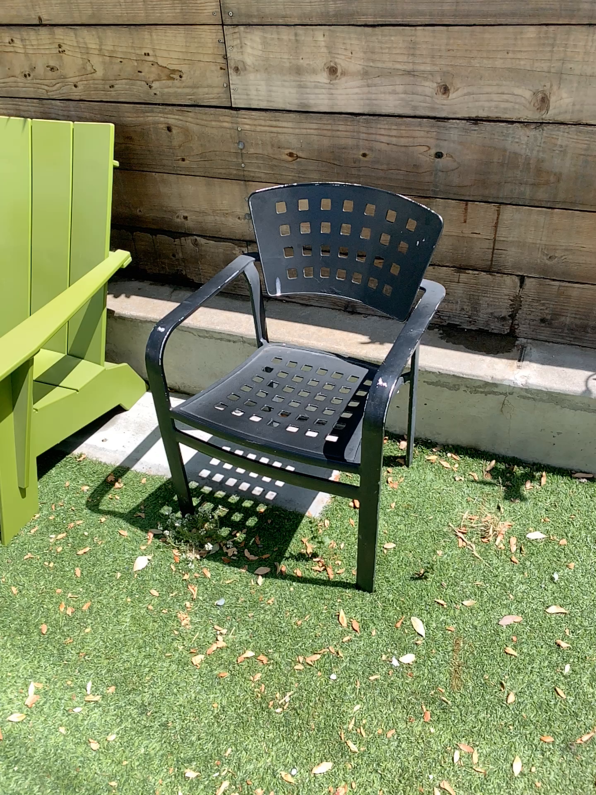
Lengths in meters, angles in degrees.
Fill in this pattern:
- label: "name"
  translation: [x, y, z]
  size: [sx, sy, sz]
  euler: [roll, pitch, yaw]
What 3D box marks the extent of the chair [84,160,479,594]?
- label: "chair"
  translation: [0.011, -0.069, 1.399]
  size: [0.591, 0.716, 0.522]
  euler: [15, 43, 22]
